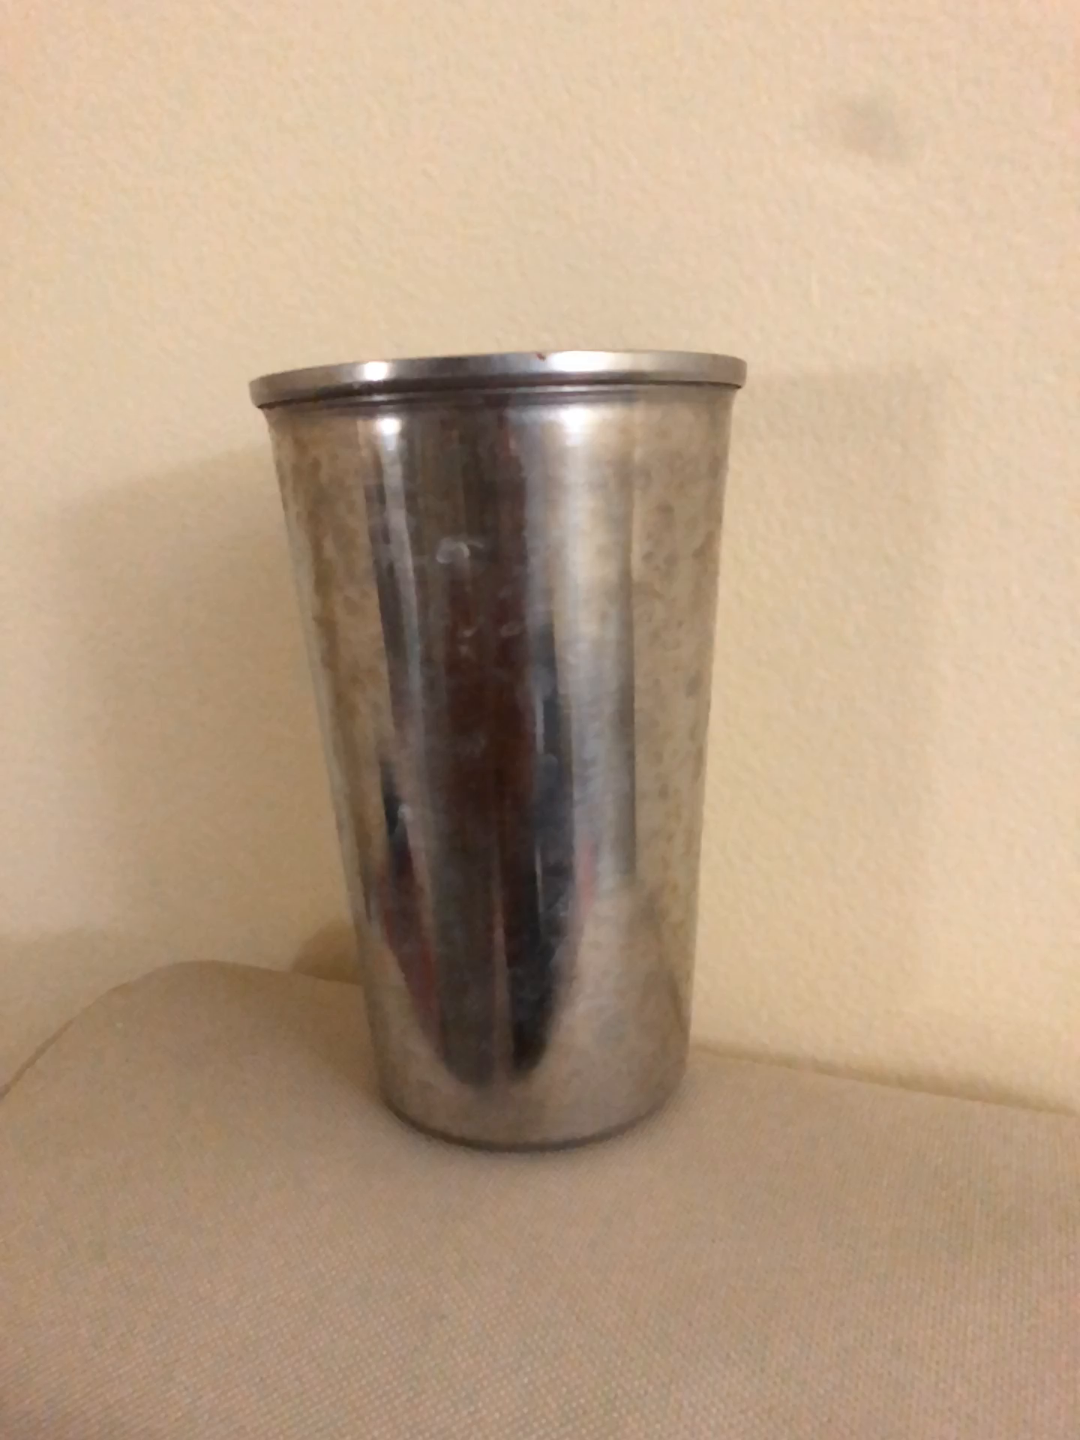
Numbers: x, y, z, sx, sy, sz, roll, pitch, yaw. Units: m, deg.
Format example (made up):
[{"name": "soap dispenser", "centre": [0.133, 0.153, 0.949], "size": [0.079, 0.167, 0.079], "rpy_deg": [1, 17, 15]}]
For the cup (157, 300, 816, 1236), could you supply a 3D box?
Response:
[{"name": "cup", "centre": [-0.003, 0.001, 0.191], "size": [0.074, 0.113, 0.073], "rpy_deg": [0, 10, 0]}]
